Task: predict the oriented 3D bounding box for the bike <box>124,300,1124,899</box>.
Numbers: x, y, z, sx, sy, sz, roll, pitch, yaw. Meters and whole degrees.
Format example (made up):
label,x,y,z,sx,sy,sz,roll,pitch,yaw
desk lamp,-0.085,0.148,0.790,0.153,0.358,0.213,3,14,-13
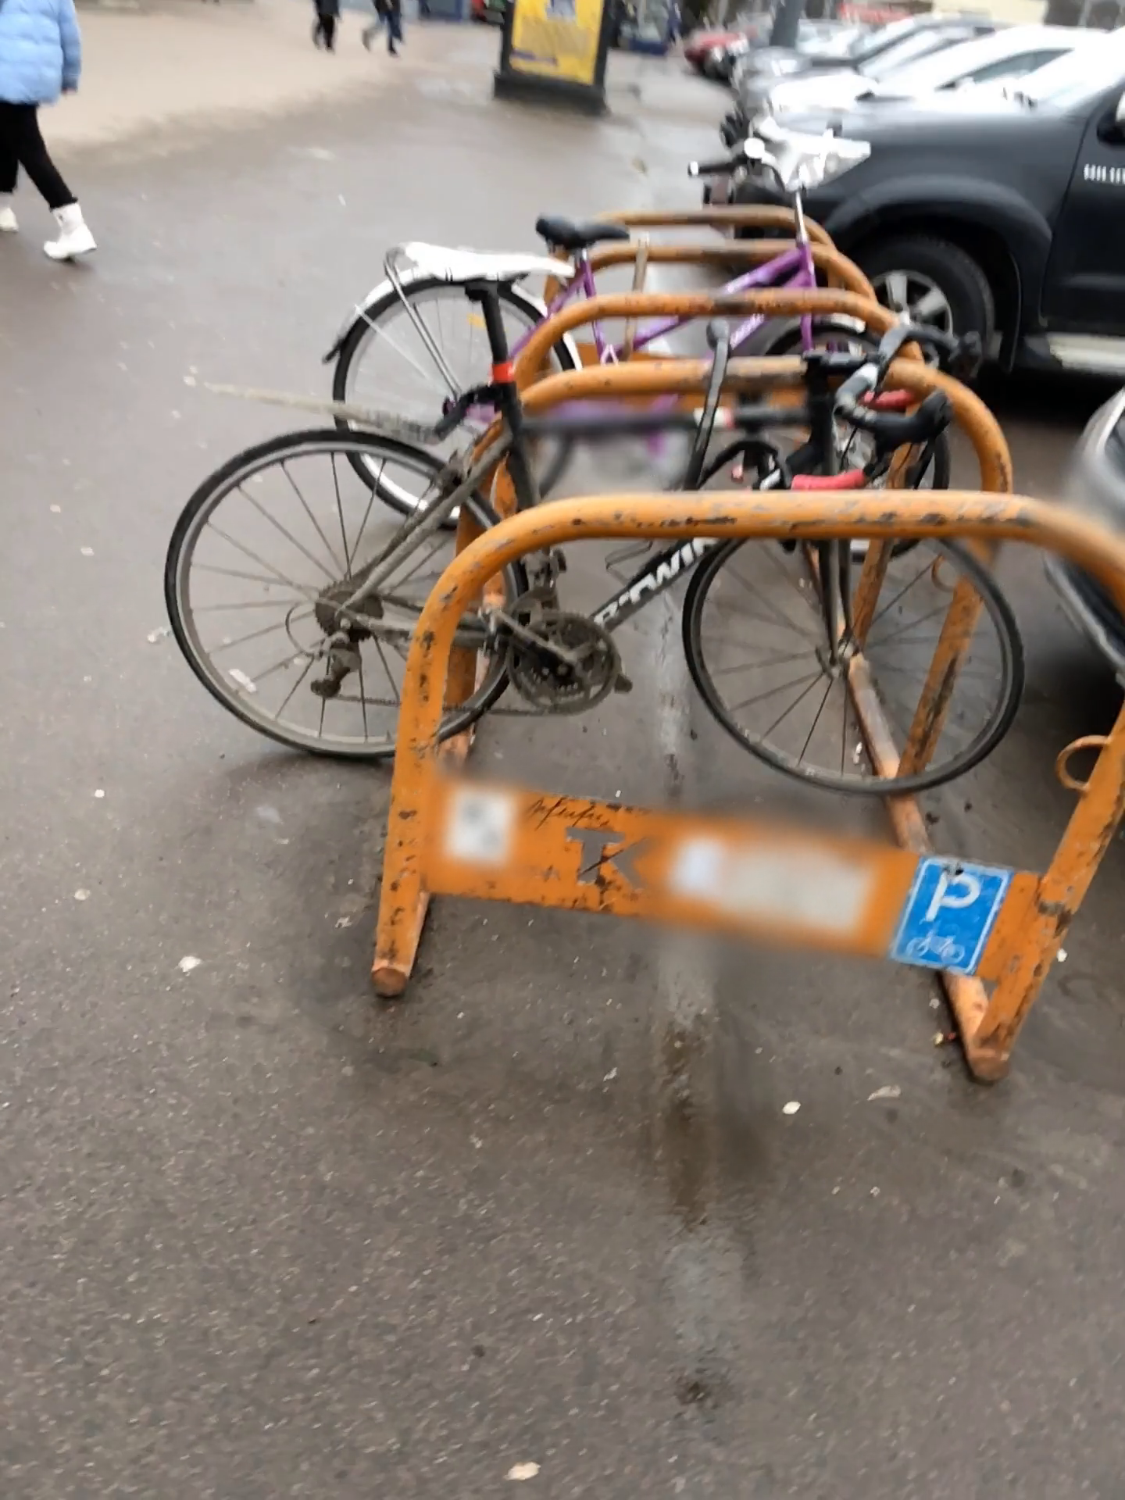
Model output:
label,x,y,z,sx,sy,sz,roll,pitch,yaw
bike,0.067,-0.278,2.159,1.515,0.761,0.492,7,29,1
